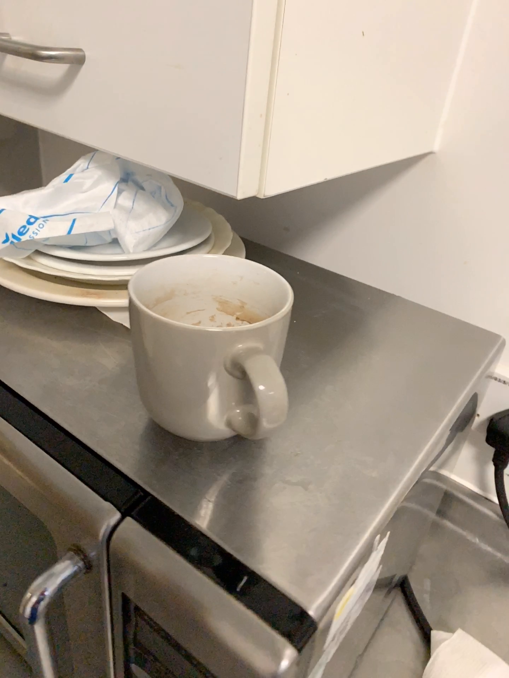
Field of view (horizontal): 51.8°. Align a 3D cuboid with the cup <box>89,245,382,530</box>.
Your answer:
[{"bbox_3d":[-0.018,0.014,0.293,0.101,0.079,0.124,-16,37,-33],"label":"cup"}]
